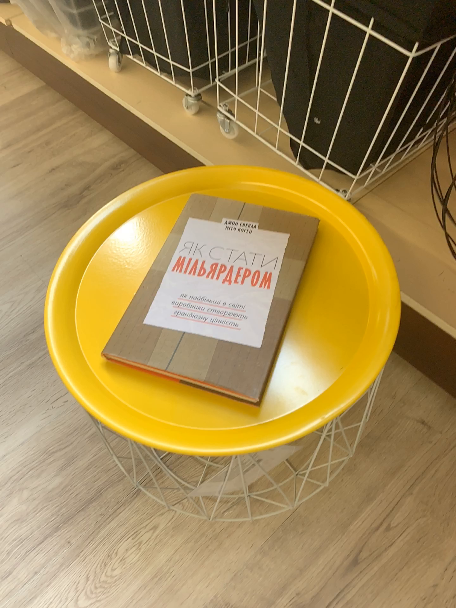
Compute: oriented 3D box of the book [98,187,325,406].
[{"bbox_3d":[-0.007,-0.026,0.497,0.170,0.020,0.236,13,57,14],"label":"book"}]
